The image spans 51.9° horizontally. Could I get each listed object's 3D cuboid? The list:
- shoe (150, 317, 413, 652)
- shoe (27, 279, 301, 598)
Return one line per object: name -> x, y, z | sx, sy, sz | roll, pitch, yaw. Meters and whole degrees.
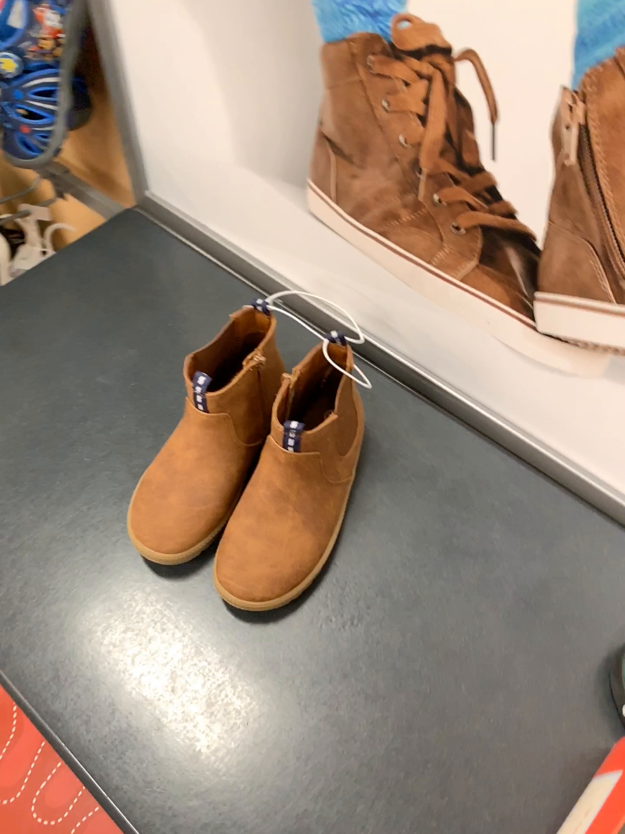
shoe -> -0.013, 0.041, 0.445 | 0.086, 0.100, 0.190 | 23, 57, 14
shoe -> -0.090, 0.010, 0.462 | 0.086, 0.100, 0.190 | 23, 57, 14
